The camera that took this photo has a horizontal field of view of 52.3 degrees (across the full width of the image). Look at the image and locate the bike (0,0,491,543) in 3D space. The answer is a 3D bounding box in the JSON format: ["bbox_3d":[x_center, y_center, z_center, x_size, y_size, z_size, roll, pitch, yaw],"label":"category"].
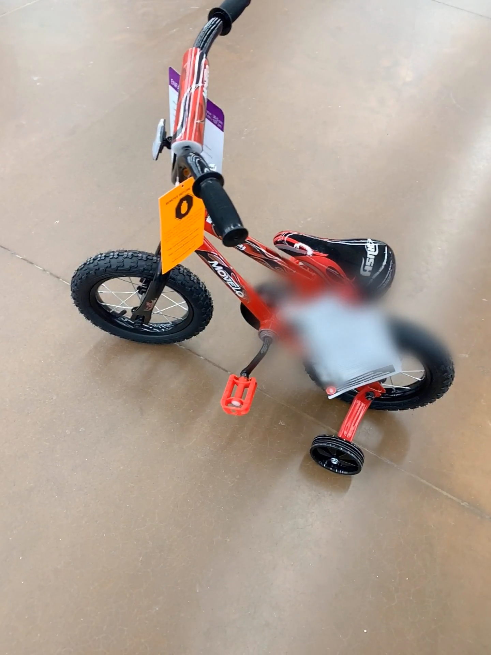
[{"bbox_3d":[0.041,-0.081,0.743,0.703,0.627,0.459,15,53,0],"label":"bike"}]
